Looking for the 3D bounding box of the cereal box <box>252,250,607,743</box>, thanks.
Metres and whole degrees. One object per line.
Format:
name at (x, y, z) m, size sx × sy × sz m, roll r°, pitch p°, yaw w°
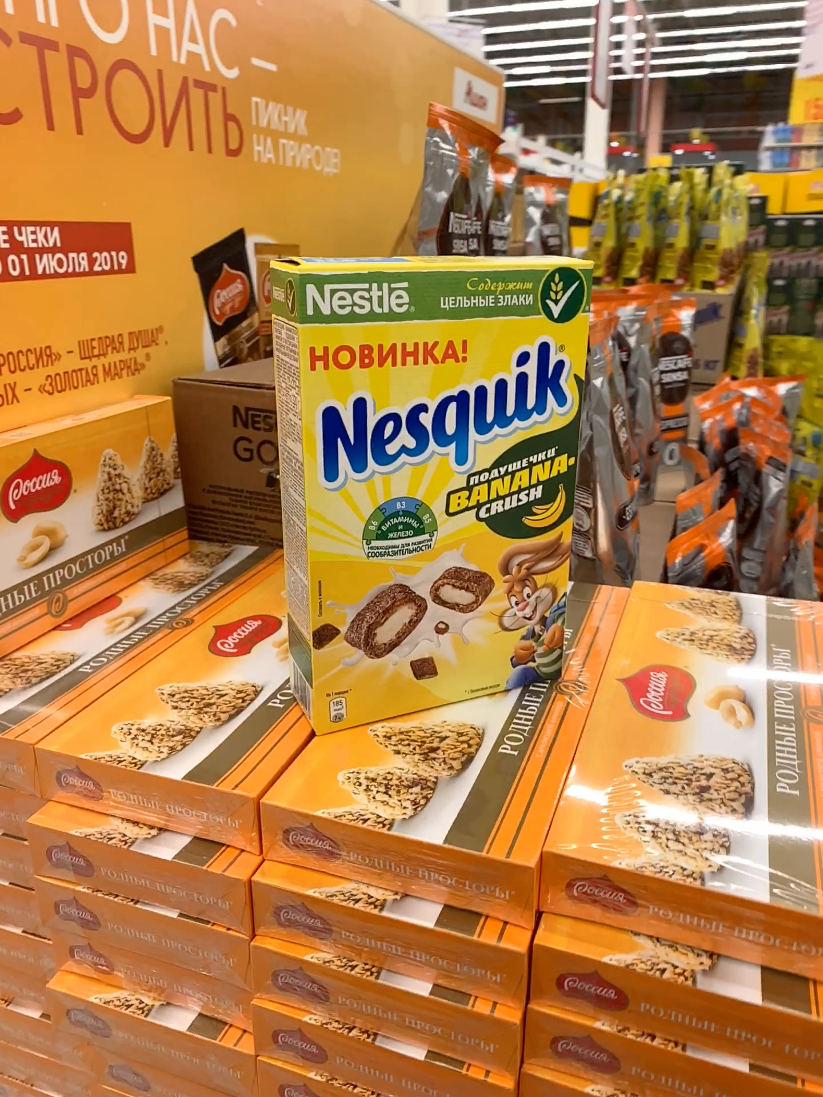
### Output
cereal box at (0.012, -0.031, 0.436) m, size 0.160 × 0.229 × 0.050 m, roll -9°, pitch 21°, yaw -22°
